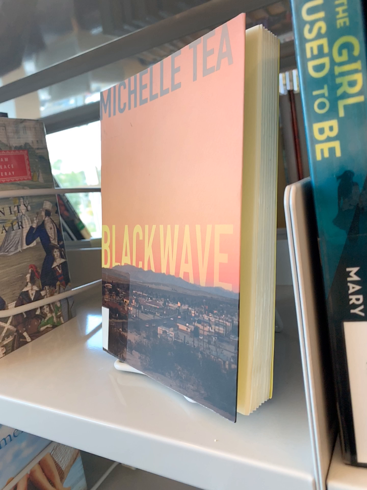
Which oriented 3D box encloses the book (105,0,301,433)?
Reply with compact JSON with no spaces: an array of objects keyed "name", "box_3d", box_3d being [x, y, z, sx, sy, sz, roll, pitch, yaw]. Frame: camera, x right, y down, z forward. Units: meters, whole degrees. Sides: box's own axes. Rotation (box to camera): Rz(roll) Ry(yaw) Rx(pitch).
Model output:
[{"name":"book","box_3d":[0.001,-0.015,0.246,0.036,0.201,0.147,-2,4,-38]}]
